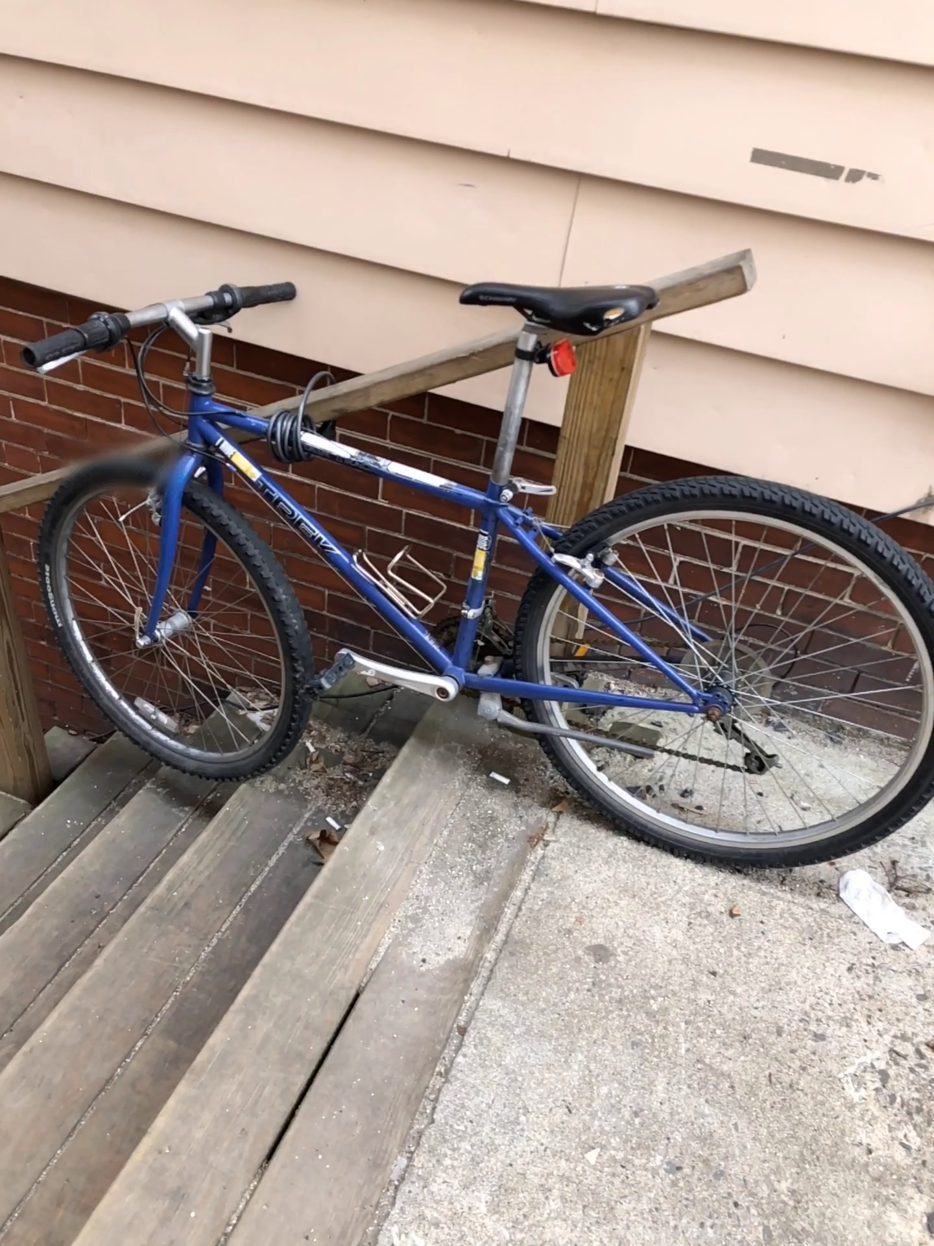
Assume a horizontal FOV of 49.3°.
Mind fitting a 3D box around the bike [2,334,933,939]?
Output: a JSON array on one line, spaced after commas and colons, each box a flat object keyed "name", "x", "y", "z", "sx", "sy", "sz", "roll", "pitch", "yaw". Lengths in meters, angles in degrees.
[{"name": "bike", "x": -0.029, "y": -0.076, "z": 1.769, "sx": 1.521, "sy": 0.619, "sz": 0.535, "roll": 10, "pitch": 33, "yaw": 20}]
